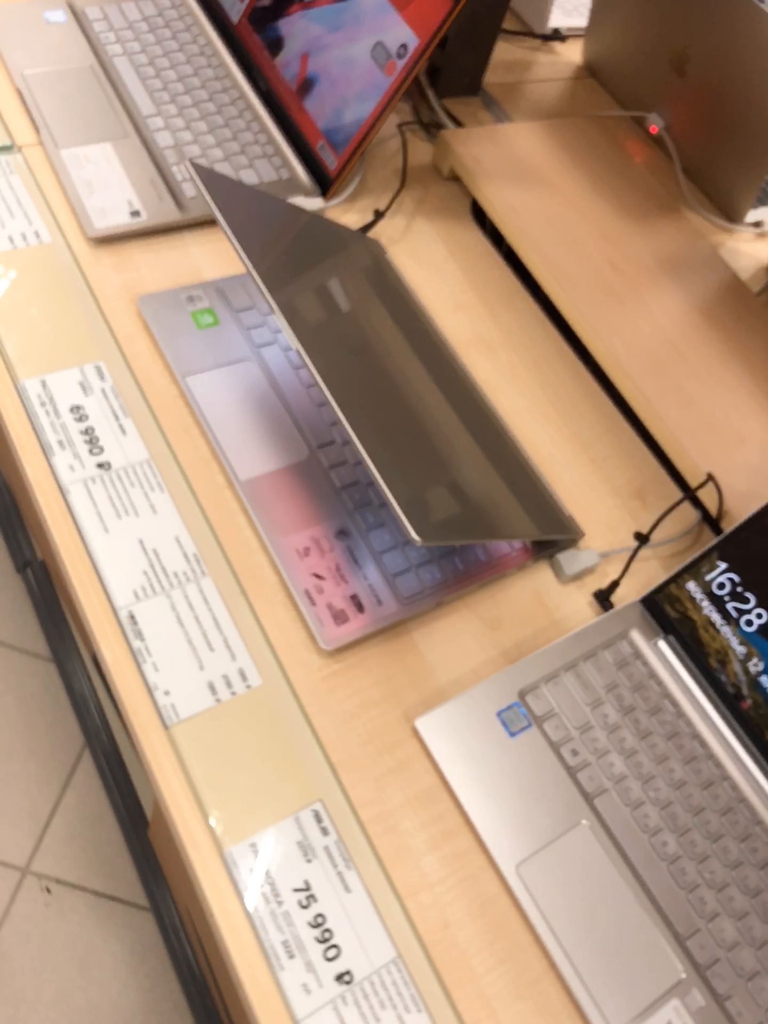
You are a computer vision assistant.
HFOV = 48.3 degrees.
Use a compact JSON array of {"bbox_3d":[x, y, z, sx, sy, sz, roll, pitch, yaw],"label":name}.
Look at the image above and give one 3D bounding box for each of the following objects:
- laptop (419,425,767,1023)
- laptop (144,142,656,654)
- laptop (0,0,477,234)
[{"bbox_3d":[0.250,0.169,0.485,0.301,0.154,0.326,-23,66,-24],"label":"laptop"},{"bbox_3d":[-0.007,-0.100,0.614,0.216,0.113,0.321,-20,65,-25],"label":"laptop"},{"bbox_3d":[-0.153,-0.445,0.743,0.314,0.170,0.310,-20,66,-25],"label":"laptop"}]
